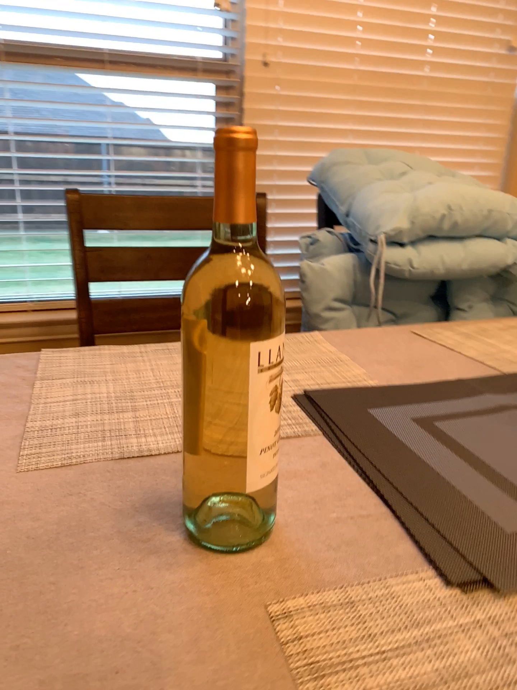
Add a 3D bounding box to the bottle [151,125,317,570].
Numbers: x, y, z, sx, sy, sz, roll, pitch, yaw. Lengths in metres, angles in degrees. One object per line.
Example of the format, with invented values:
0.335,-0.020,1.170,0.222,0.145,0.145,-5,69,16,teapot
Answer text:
-0.017,0.003,0.390,0.080,0.299,0.084,2,18,-1,bottle
